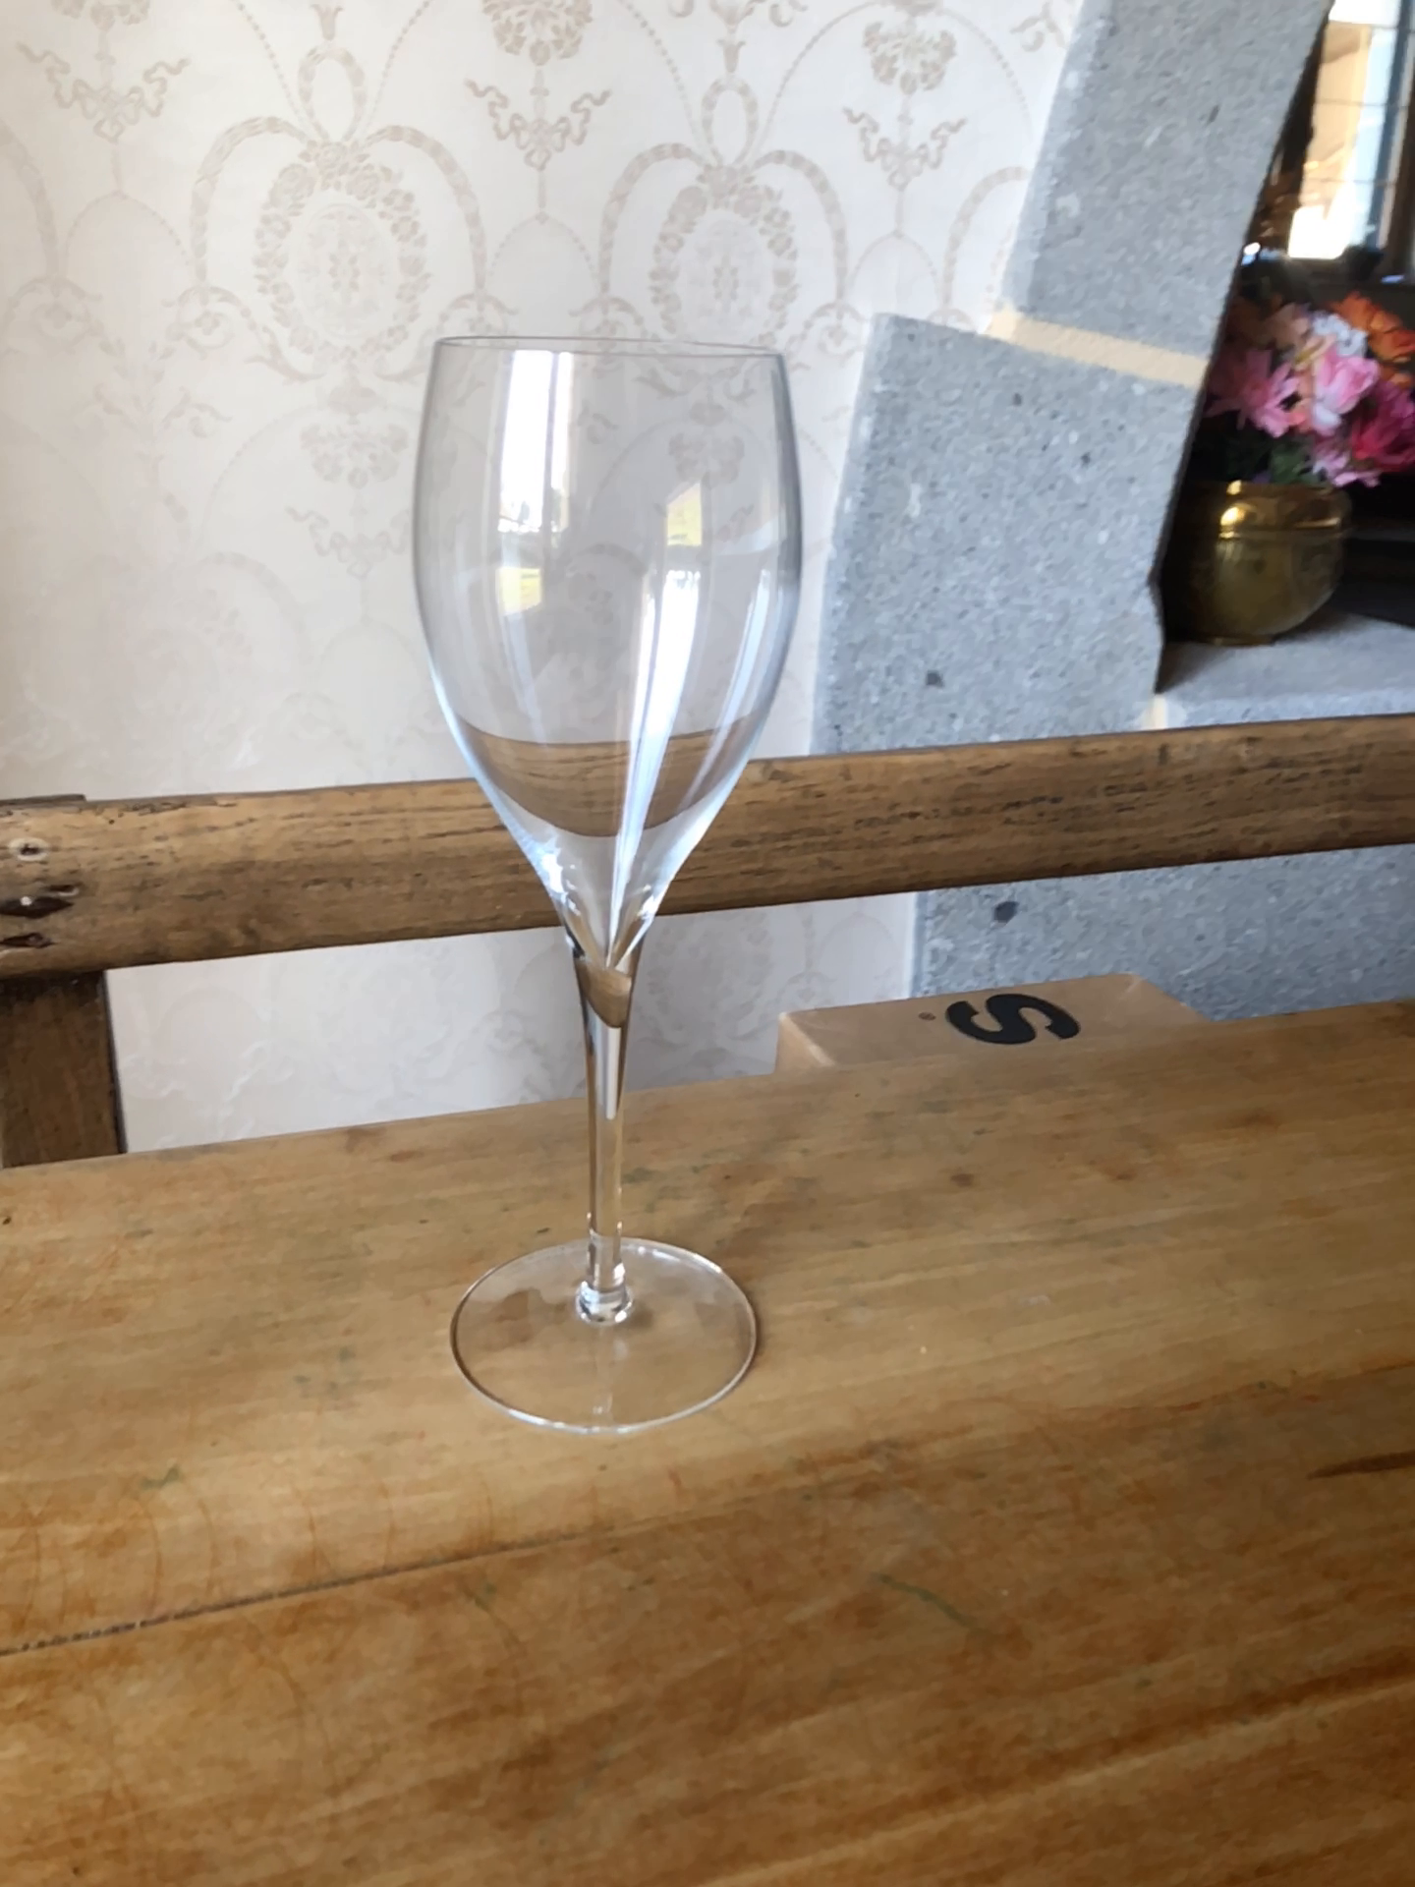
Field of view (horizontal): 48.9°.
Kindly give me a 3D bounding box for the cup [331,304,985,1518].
[{"bbox_3d":[-0.012,-0.011,0.305,0.080,0.209,0.080,1,21,0],"label":"cup"}]
